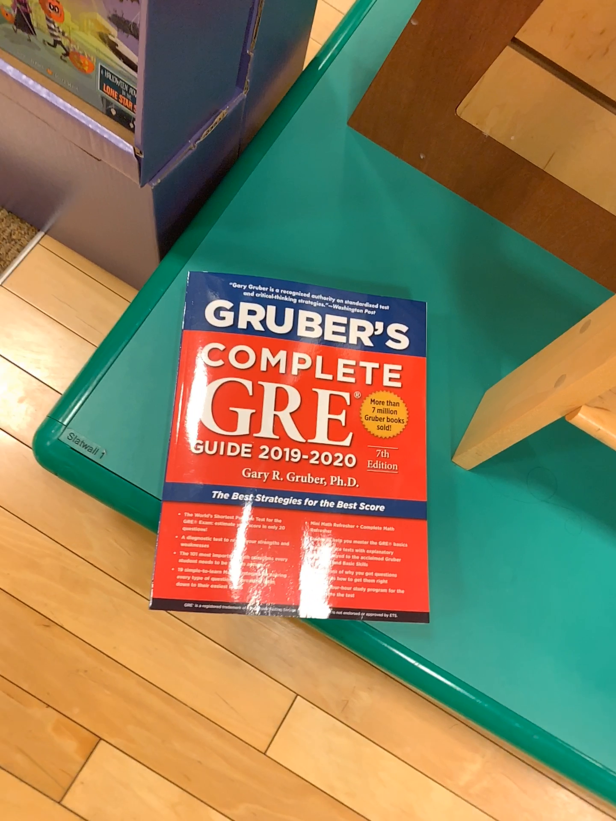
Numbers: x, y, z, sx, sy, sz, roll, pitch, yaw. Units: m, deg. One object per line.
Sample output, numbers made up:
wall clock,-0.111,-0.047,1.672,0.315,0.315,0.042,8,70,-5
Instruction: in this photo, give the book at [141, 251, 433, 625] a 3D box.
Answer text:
book,-0.008,0.021,0.532,0.220,0.040,0.290,6,75,-9
